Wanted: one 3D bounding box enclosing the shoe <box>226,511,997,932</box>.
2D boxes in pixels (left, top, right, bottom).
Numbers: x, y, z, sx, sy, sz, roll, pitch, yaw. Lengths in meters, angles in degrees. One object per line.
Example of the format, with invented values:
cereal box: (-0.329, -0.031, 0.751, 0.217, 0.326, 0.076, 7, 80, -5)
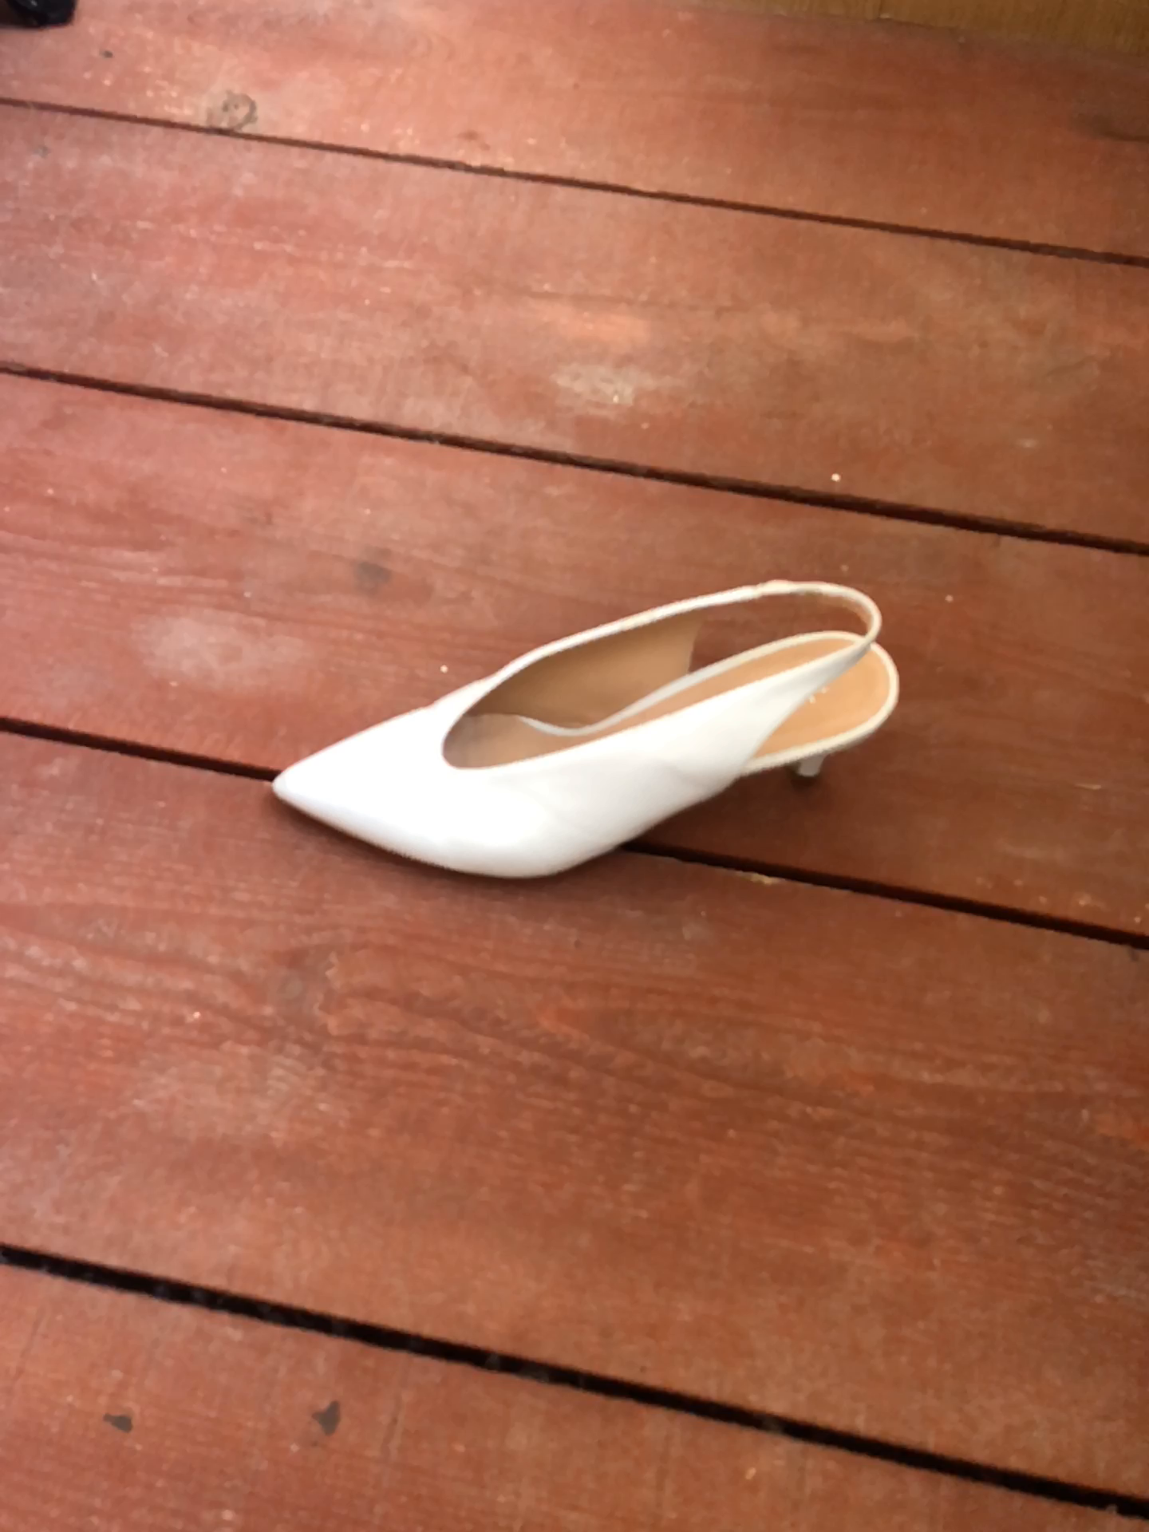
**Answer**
shoe: (0.008, -0.015, 0.447, 0.240, 0.080, 0.100, -6, 62, -3)
